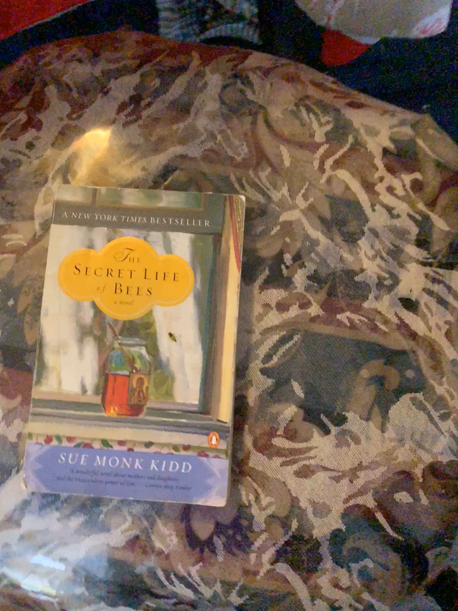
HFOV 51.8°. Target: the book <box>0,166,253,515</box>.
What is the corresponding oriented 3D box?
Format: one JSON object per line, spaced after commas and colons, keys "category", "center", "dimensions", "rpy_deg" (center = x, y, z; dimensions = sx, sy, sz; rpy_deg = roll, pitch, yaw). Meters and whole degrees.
{"category": "book", "center": [-0.060, 0.016, 0.314], "dimensions": [0.140, 0.040, 0.210], "rpy_deg": [3, 80, 6]}
